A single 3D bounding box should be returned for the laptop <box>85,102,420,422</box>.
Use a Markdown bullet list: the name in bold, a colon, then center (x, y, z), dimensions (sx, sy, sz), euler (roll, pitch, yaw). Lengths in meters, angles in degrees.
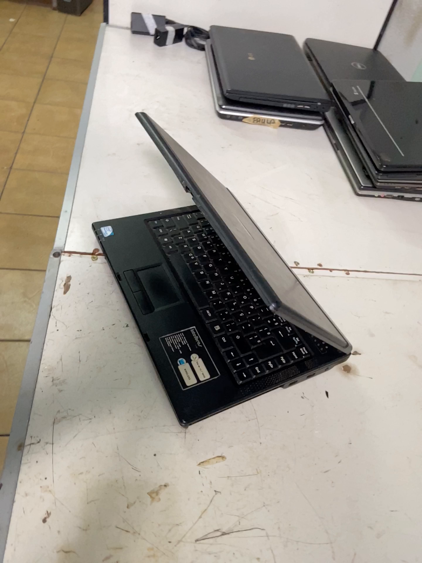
- **laptop**: center (0.014, -0.052, 0.528), dimensions (0.236, 0.168, 0.325), euler (-15, 53, -25)
